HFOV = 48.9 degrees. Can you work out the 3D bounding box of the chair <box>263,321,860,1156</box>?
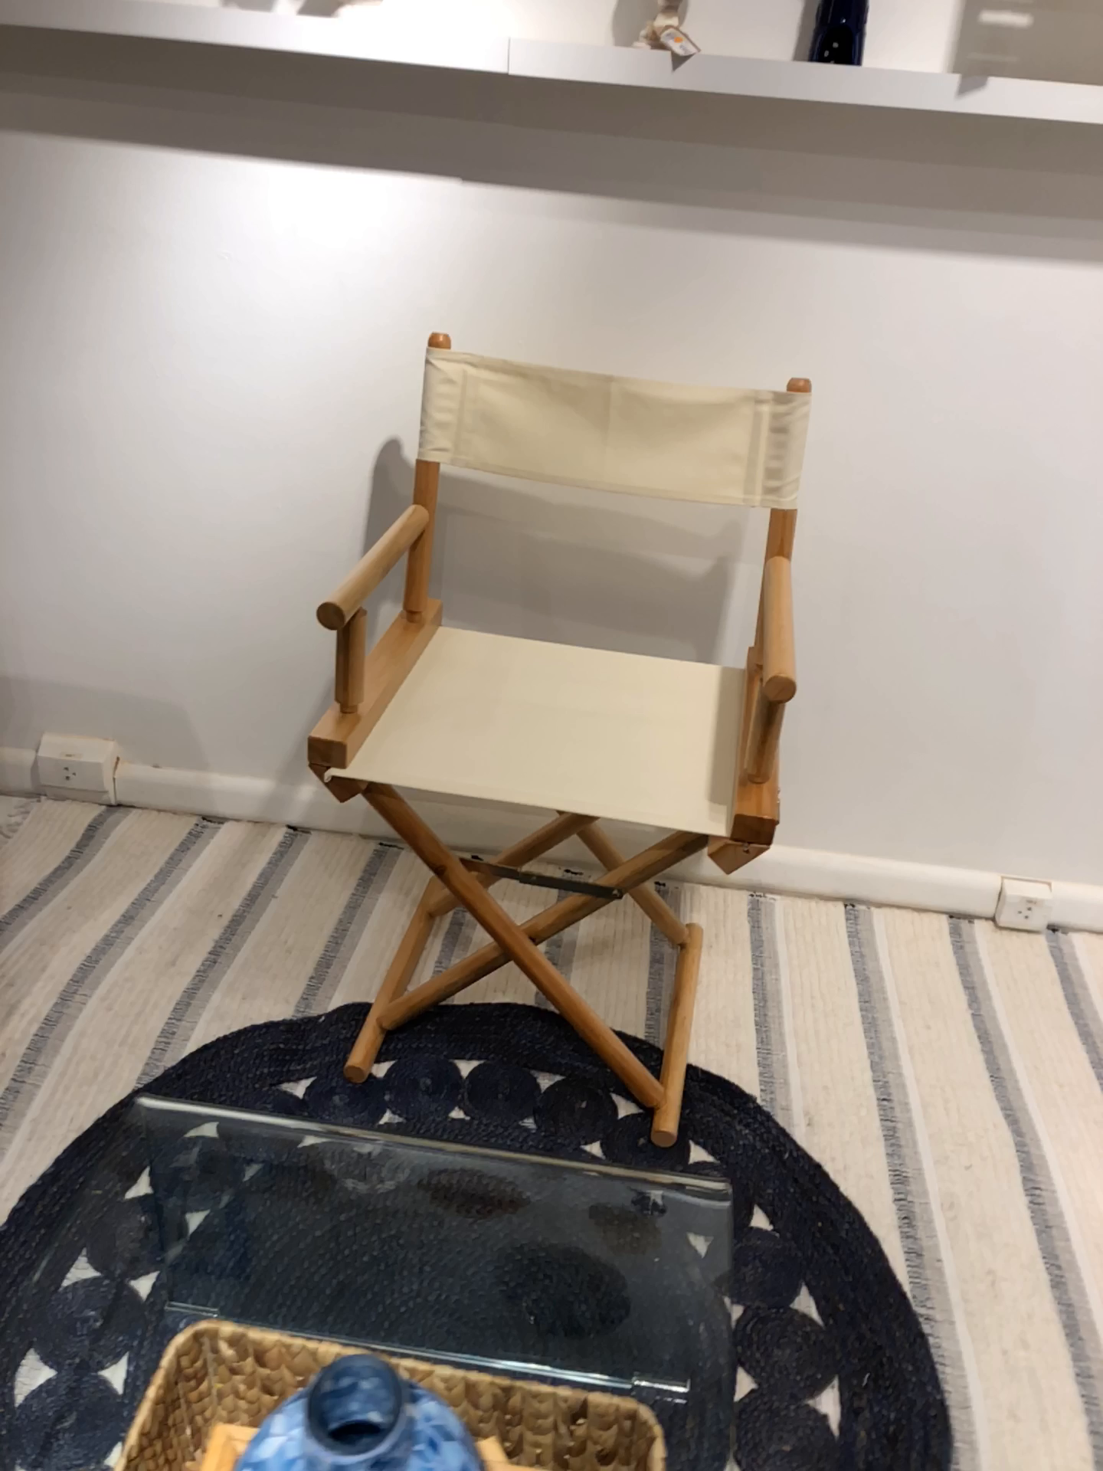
[{"bbox_3d":[0.021,-0.024,1.515,0.540,0.794,0.564,9,30,7],"label":"chair"}]
